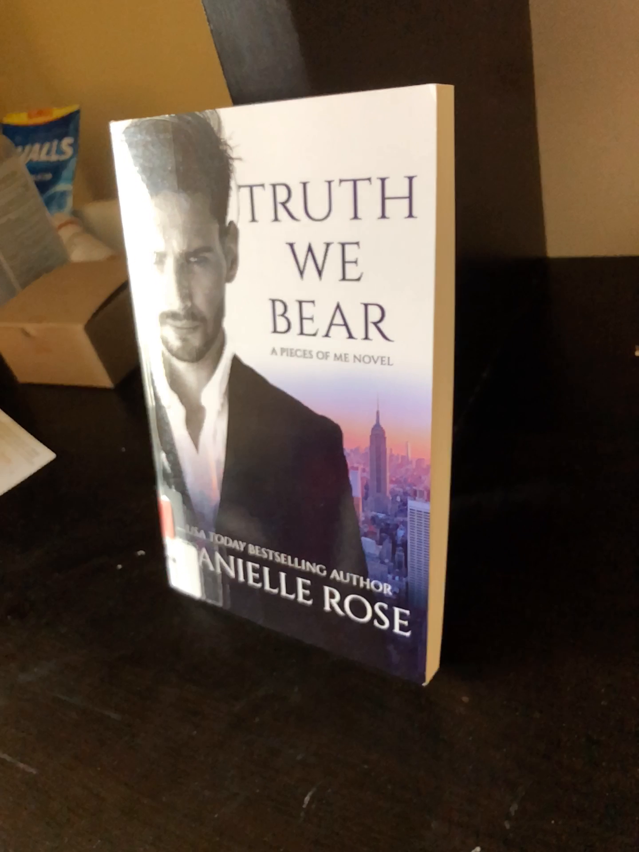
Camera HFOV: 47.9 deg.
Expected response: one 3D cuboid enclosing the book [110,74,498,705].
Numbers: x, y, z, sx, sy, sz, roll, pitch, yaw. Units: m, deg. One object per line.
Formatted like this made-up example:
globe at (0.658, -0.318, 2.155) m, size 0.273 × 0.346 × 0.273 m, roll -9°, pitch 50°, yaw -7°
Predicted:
book at (-0.009, -0.010, 0.288) m, size 0.150 × 0.220 × 0.020 m, roll 9°, pitch 22°, yaw 31°
